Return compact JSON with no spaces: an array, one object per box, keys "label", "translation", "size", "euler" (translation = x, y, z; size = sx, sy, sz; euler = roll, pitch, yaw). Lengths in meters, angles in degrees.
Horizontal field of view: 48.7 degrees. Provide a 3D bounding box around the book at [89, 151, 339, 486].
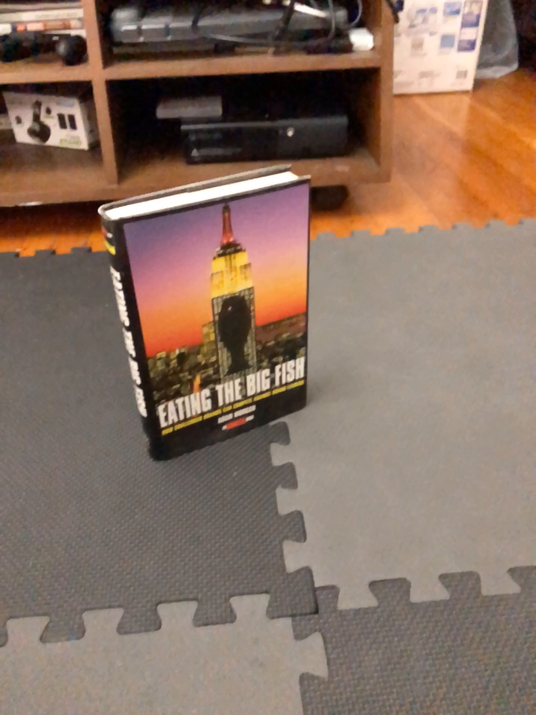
[{"label":"book","translation":[-0.034,-0.026,0.516],"size":[0.180,0.258,0.050],"euler":[-21,42,-23]}]
